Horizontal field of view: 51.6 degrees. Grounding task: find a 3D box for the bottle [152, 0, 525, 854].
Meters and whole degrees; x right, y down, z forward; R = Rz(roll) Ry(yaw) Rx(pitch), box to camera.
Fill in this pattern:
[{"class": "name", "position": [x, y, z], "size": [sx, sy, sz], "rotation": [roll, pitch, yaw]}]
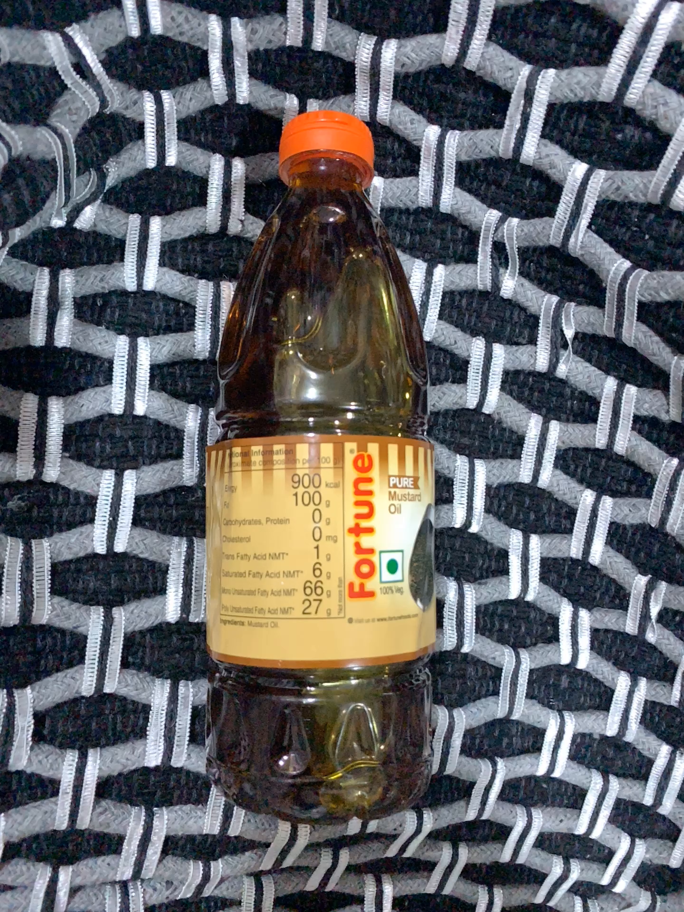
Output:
[{"class": "bottle", "position": [0.000, -0.014, 0.222], "size": [0.080, 0.080, 0.220], "rotation": [-6, 80, 27]}]
